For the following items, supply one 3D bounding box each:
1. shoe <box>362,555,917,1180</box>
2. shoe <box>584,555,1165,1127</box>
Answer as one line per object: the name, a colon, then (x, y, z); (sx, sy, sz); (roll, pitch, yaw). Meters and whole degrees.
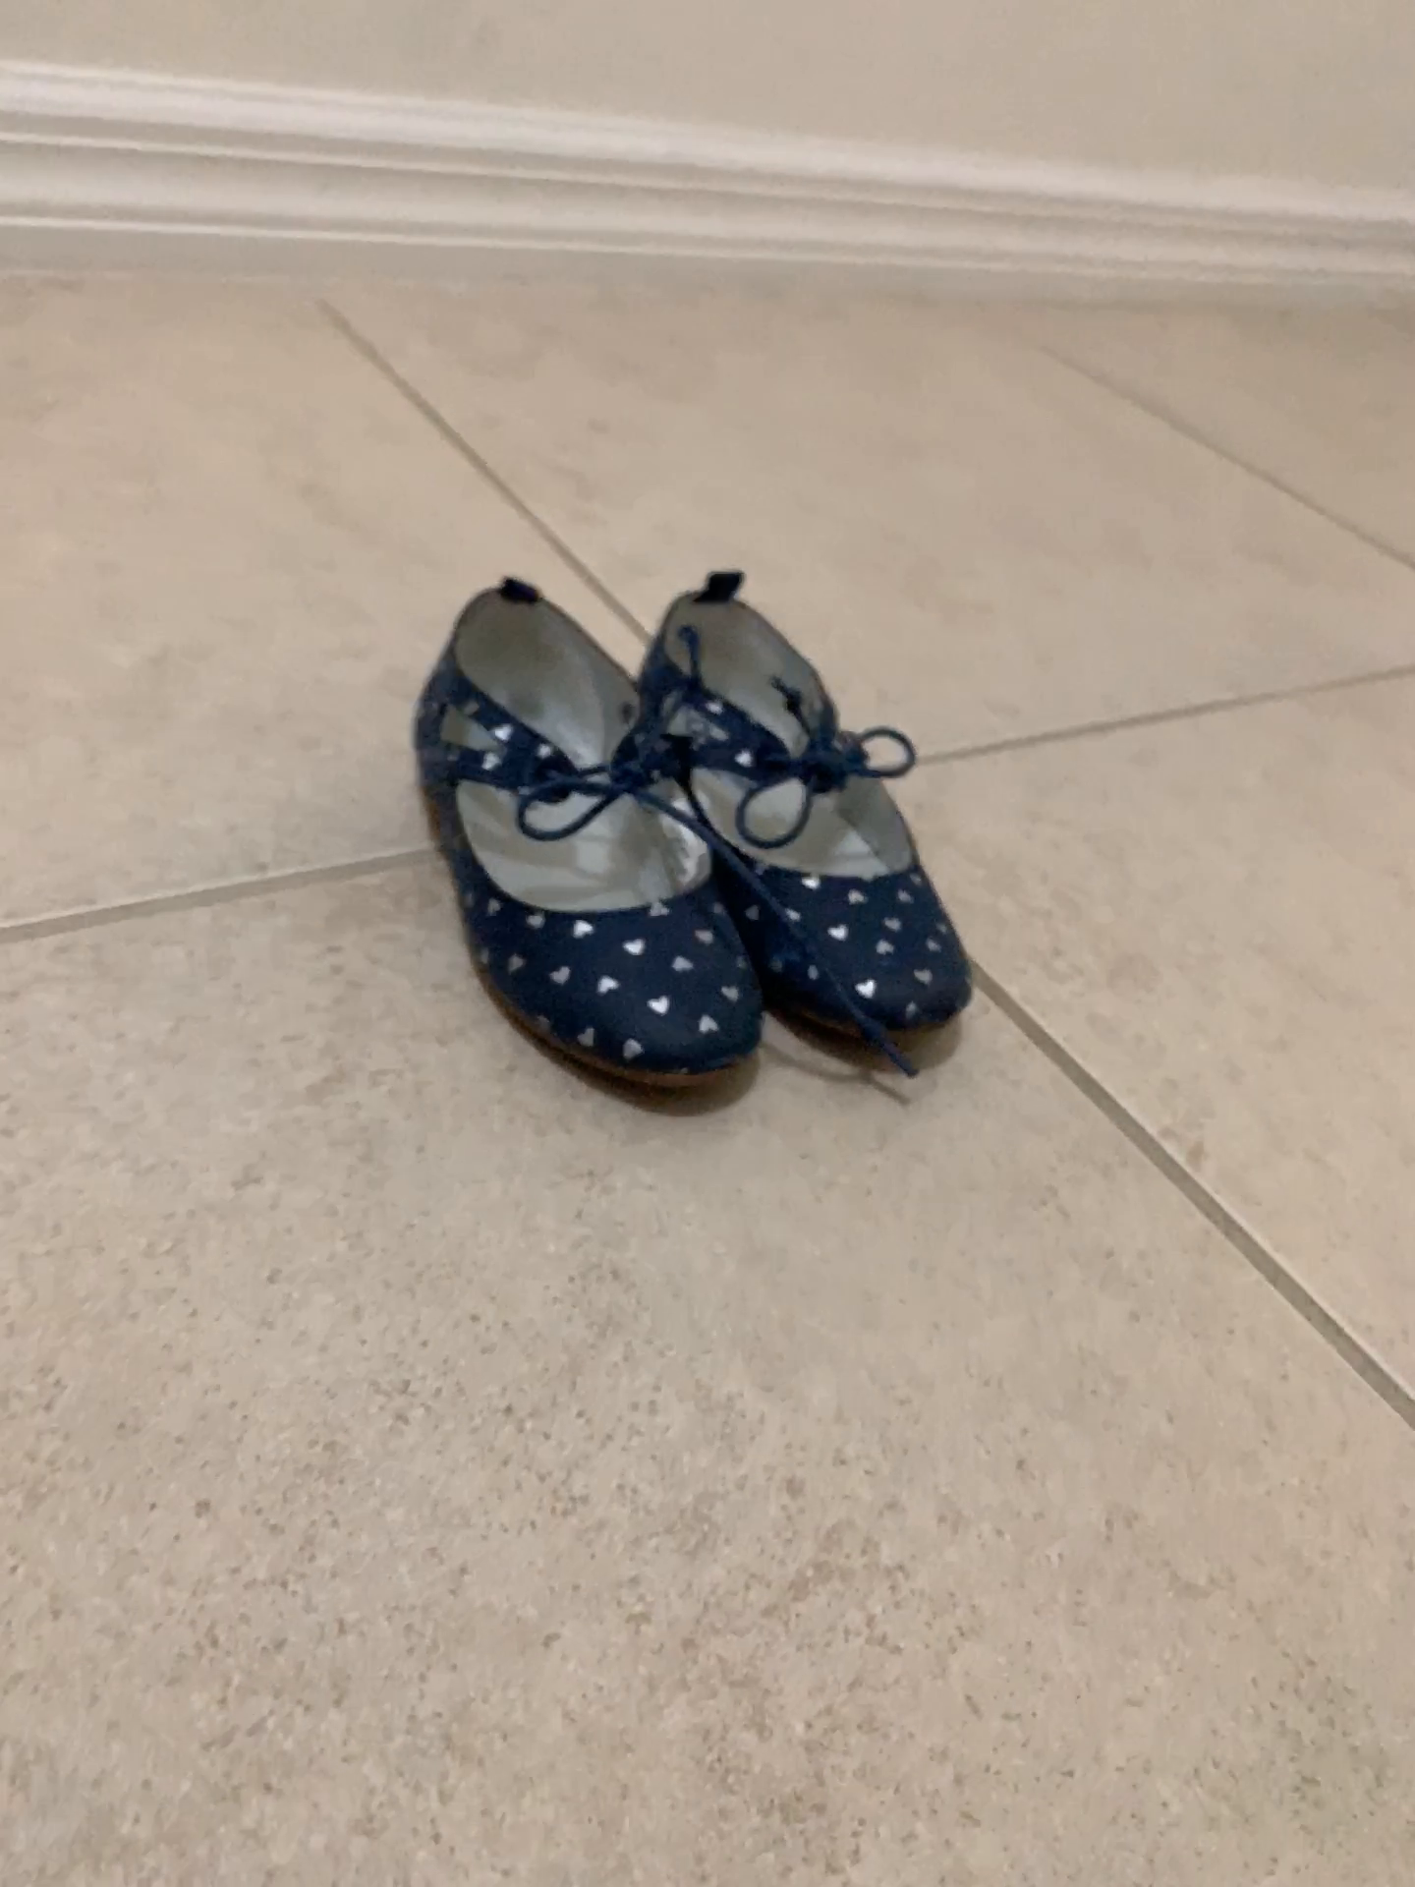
shoe: (-0.028, -0.031, 0.381); (0.071, 0.061, 0.172); (-9, 44, -27)
shoe: (0.035, -0.038, 0.411); (0.071, 0.061, 0.172); (-9, 44, -27)
